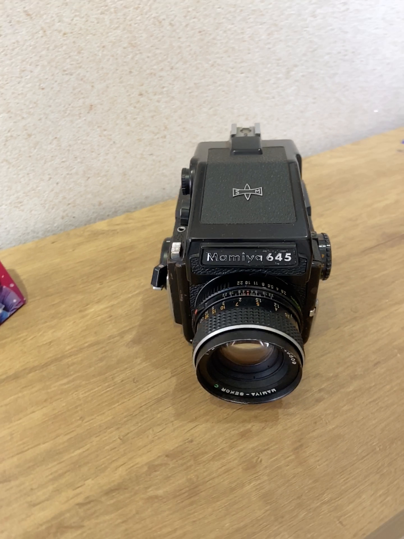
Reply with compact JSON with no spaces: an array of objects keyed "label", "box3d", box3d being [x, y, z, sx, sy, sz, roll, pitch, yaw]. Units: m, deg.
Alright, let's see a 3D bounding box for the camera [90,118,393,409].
[{"label":"camera","box3d":[0.025,-0.013,0.277,0.130,0.109,0.161,0,39,6]}]
